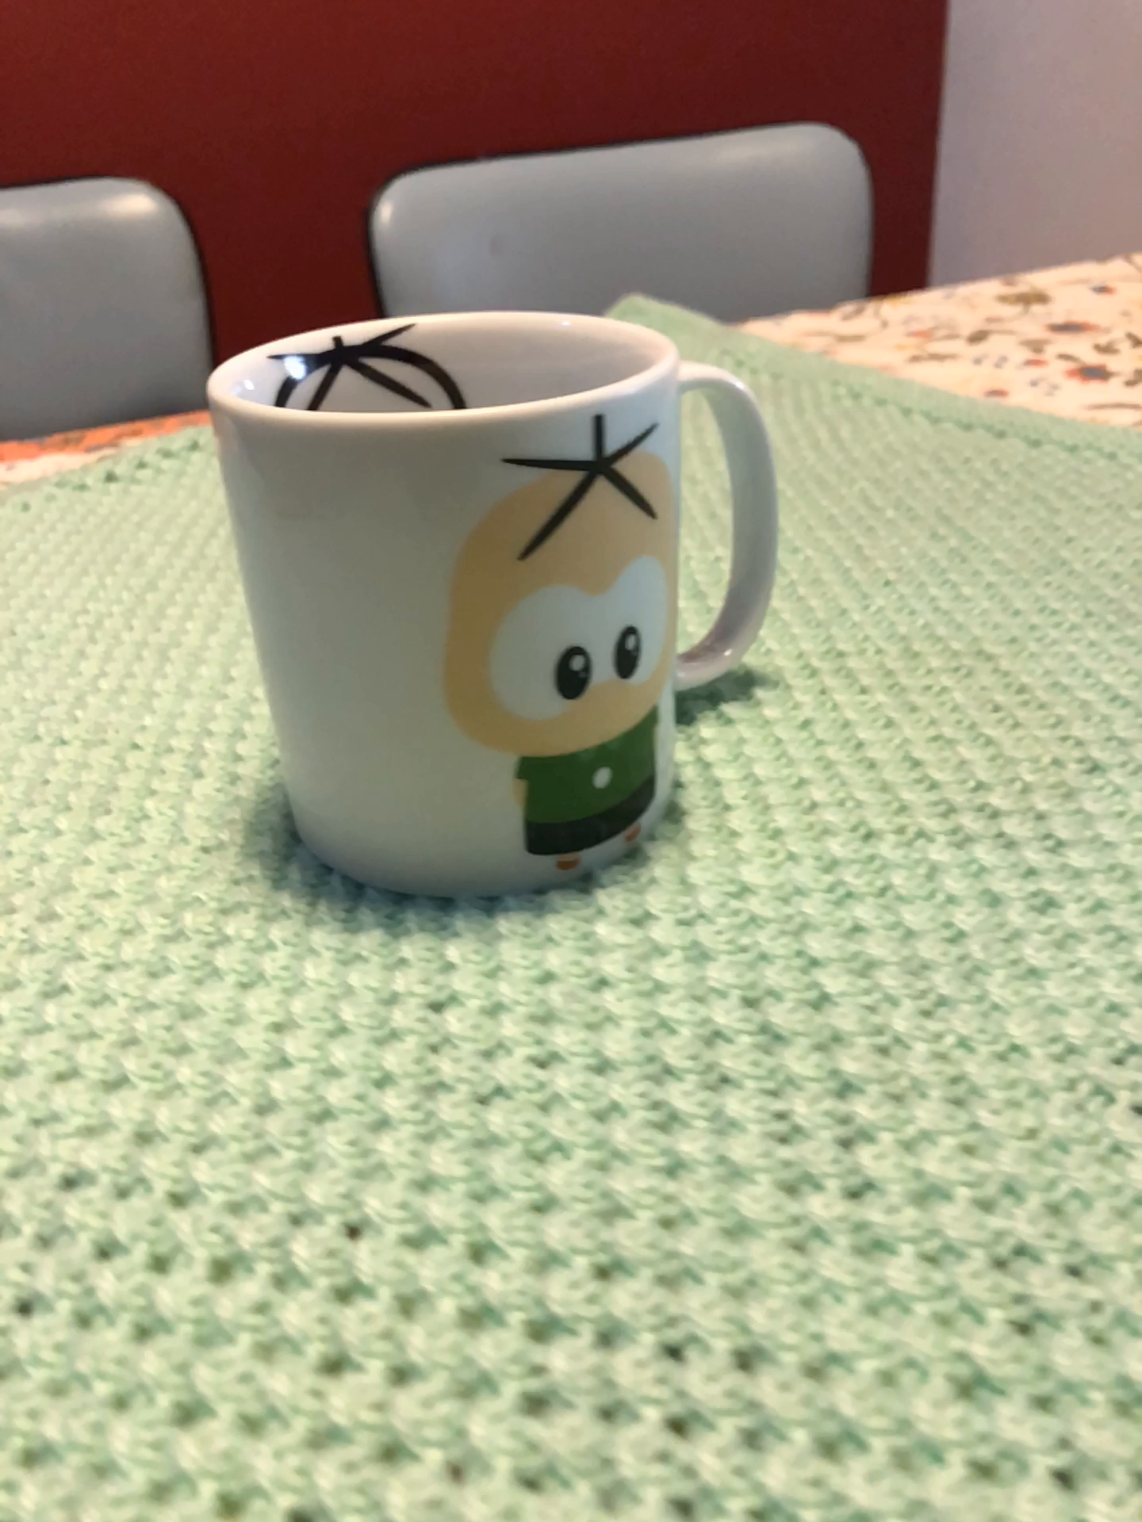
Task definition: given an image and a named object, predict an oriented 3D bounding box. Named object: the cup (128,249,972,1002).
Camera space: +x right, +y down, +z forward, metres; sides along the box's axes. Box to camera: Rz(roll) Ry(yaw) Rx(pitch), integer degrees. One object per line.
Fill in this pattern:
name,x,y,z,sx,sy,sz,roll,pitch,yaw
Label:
cup,-0.002,-0.039,0.264,0.130,0.099,0.090,-21,34,-27
